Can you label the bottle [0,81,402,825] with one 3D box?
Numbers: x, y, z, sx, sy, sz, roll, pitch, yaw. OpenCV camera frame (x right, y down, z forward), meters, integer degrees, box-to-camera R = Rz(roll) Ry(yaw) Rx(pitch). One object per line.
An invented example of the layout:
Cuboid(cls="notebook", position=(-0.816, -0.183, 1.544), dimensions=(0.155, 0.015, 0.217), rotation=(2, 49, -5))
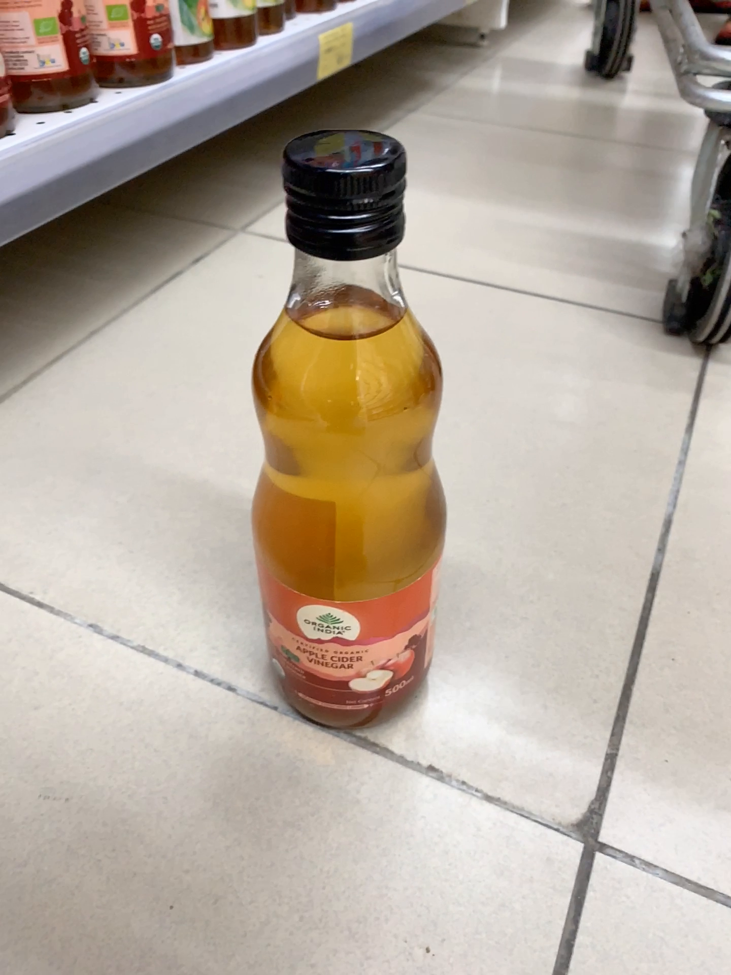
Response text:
Cuboid(cls="bottle", position=(-0.037, 0.007, 0.226), dimensions=(0.080, 0.209, 0.080), rotation=(0, 42, 0))
